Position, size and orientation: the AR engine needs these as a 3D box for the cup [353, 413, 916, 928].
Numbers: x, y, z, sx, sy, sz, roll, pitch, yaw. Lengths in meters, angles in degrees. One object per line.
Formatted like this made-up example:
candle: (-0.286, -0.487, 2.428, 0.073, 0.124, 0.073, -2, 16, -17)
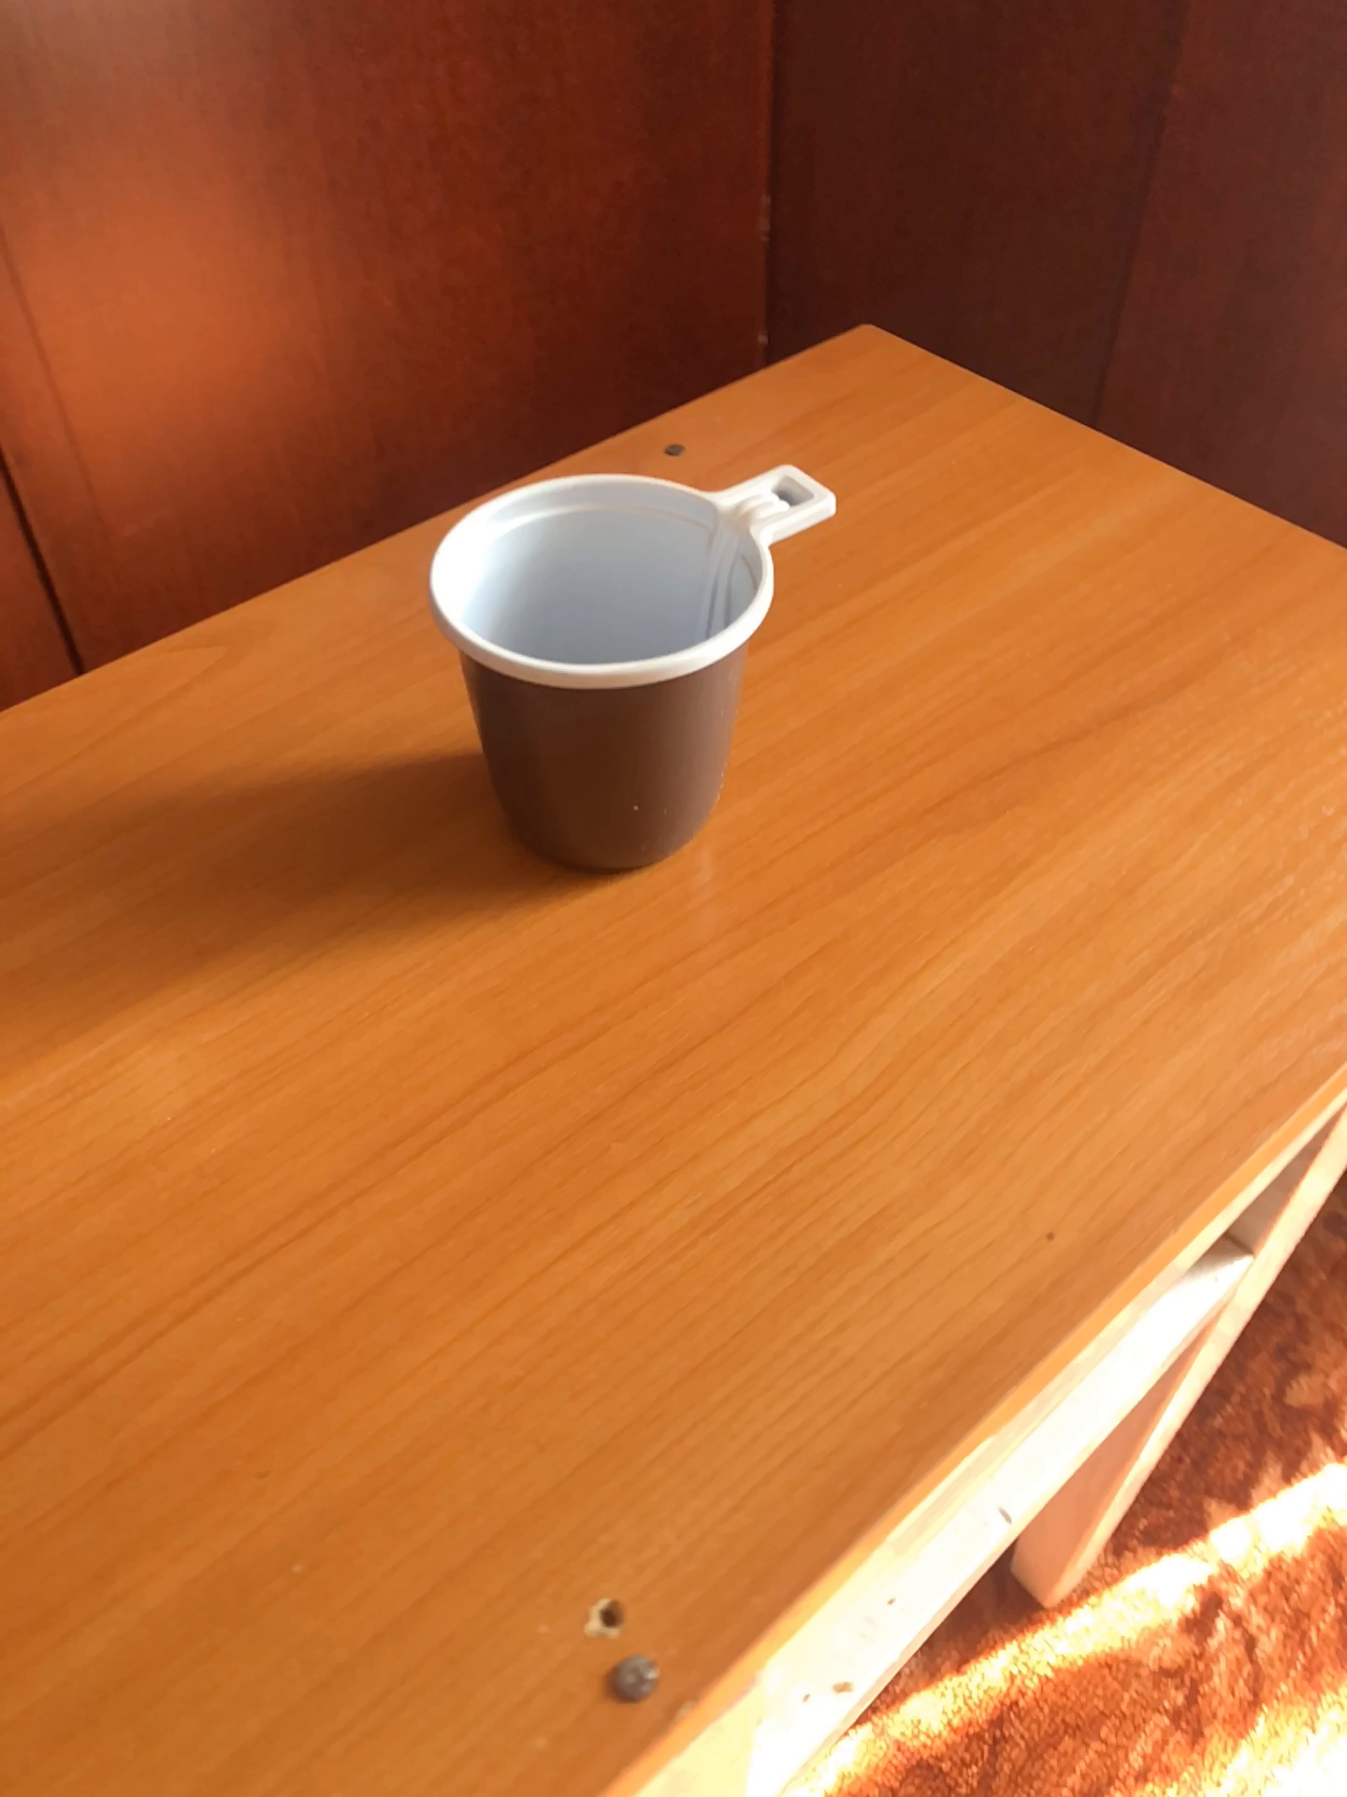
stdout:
cup: (-0.008, -0.056, 0.345, 0.100, 0.060, 0.070, -27, 51, -23)
